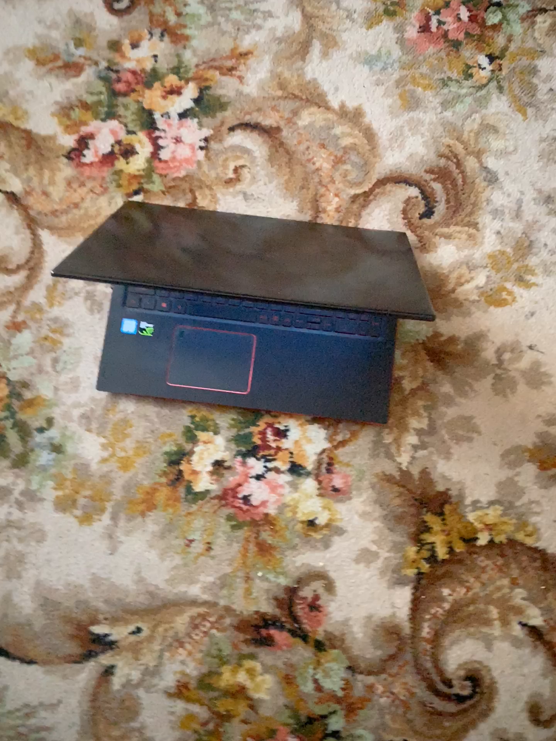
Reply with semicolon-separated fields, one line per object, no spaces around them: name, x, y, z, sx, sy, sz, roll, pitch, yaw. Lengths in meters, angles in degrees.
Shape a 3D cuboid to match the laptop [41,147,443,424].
laptop;-0.031;-0.076;0.626;0.356;0.173;0.224;7;84;1
